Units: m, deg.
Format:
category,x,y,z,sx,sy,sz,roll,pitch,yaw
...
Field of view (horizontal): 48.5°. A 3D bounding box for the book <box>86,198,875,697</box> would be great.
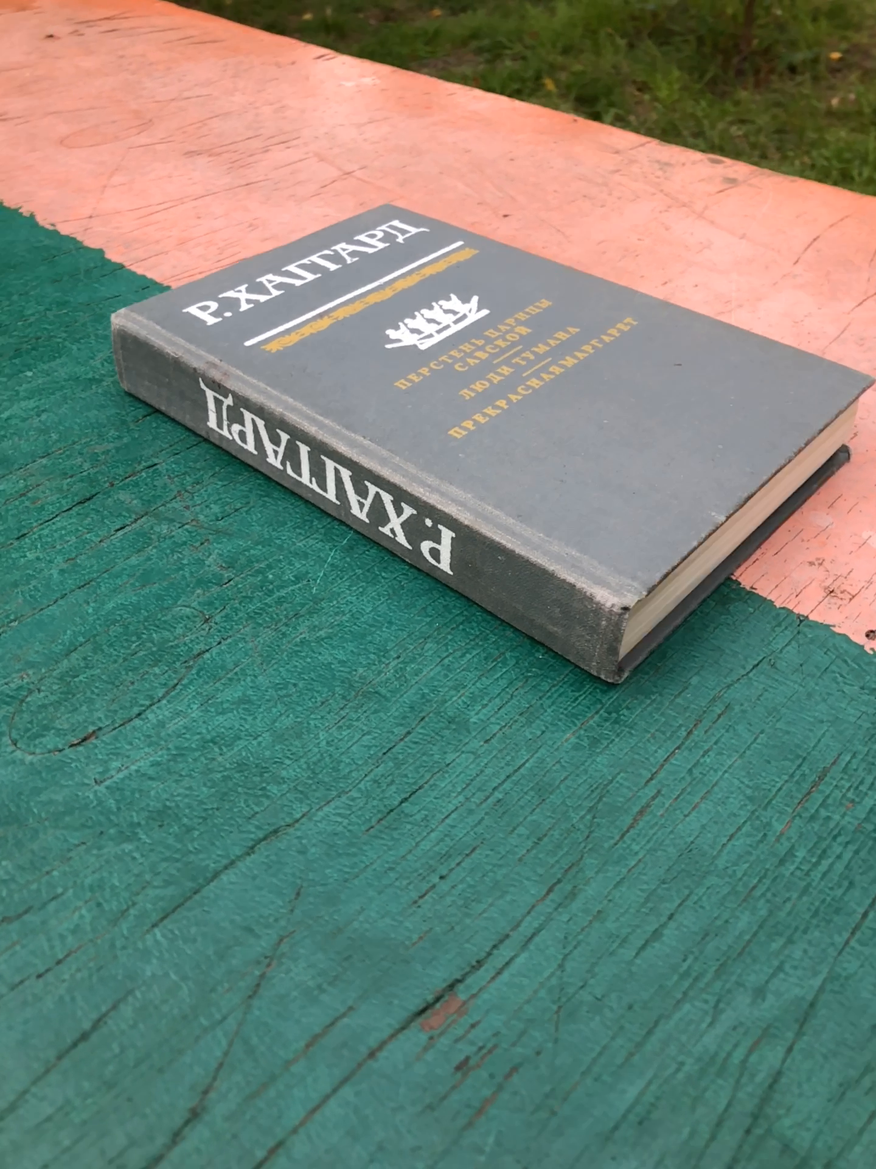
category,x,y,z,sx,sy,sz,roll,pitch,yaw
book,0.010,-0.069,0.334,0.222,0.030,0.150,31,50,30
